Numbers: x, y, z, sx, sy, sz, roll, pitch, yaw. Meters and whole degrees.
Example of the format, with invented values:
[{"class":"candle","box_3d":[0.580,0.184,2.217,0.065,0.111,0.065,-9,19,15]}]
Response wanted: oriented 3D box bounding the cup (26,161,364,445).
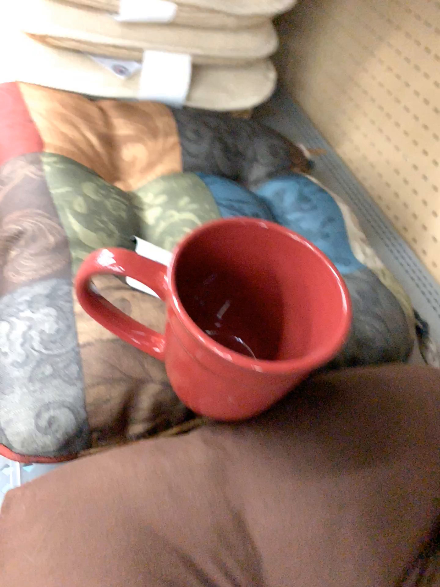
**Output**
[{"class":"cup","box_3d":[-0.012,0.009,0.263,0.150,0.090,0.101,13,52,-6]}]
